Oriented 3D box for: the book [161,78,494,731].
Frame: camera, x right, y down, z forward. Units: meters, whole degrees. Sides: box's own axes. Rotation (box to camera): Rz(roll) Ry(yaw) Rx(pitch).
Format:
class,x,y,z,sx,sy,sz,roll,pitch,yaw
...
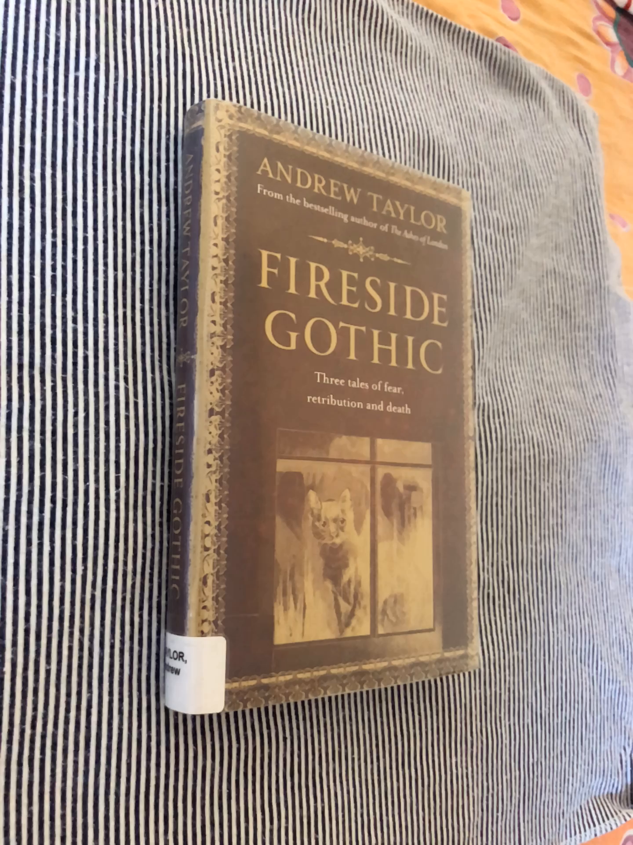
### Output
class,x,y,z,sx,sy,sz,roll,pitch,yaw
book,0.011,-0.006,0.284,0.140,0.027,0.217,5,80,-36
